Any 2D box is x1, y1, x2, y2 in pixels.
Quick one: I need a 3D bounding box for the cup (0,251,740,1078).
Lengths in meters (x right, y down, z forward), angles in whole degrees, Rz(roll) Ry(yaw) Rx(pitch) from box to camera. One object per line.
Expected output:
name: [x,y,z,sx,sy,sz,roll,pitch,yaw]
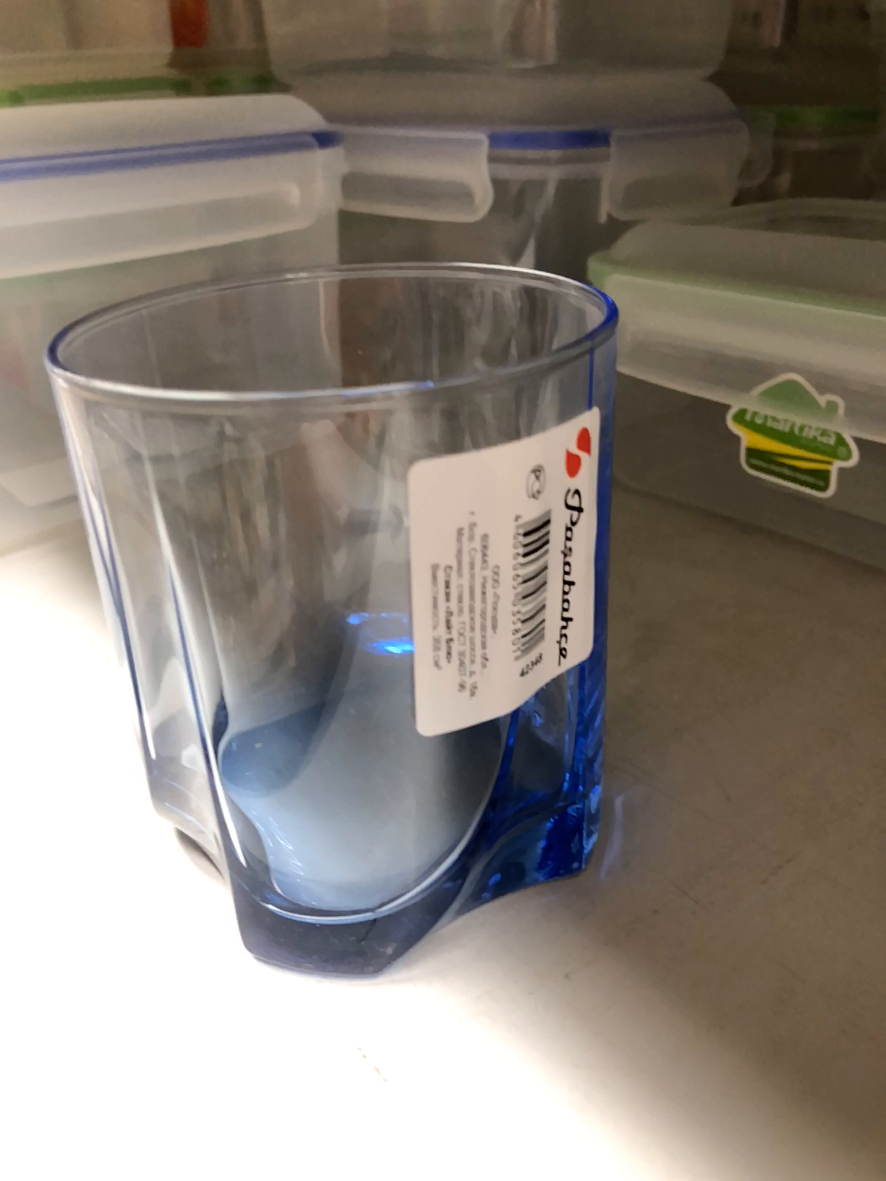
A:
cup: [-0.015,0.000,0.171,0.083,0.095,0.085,-2,26,1]
